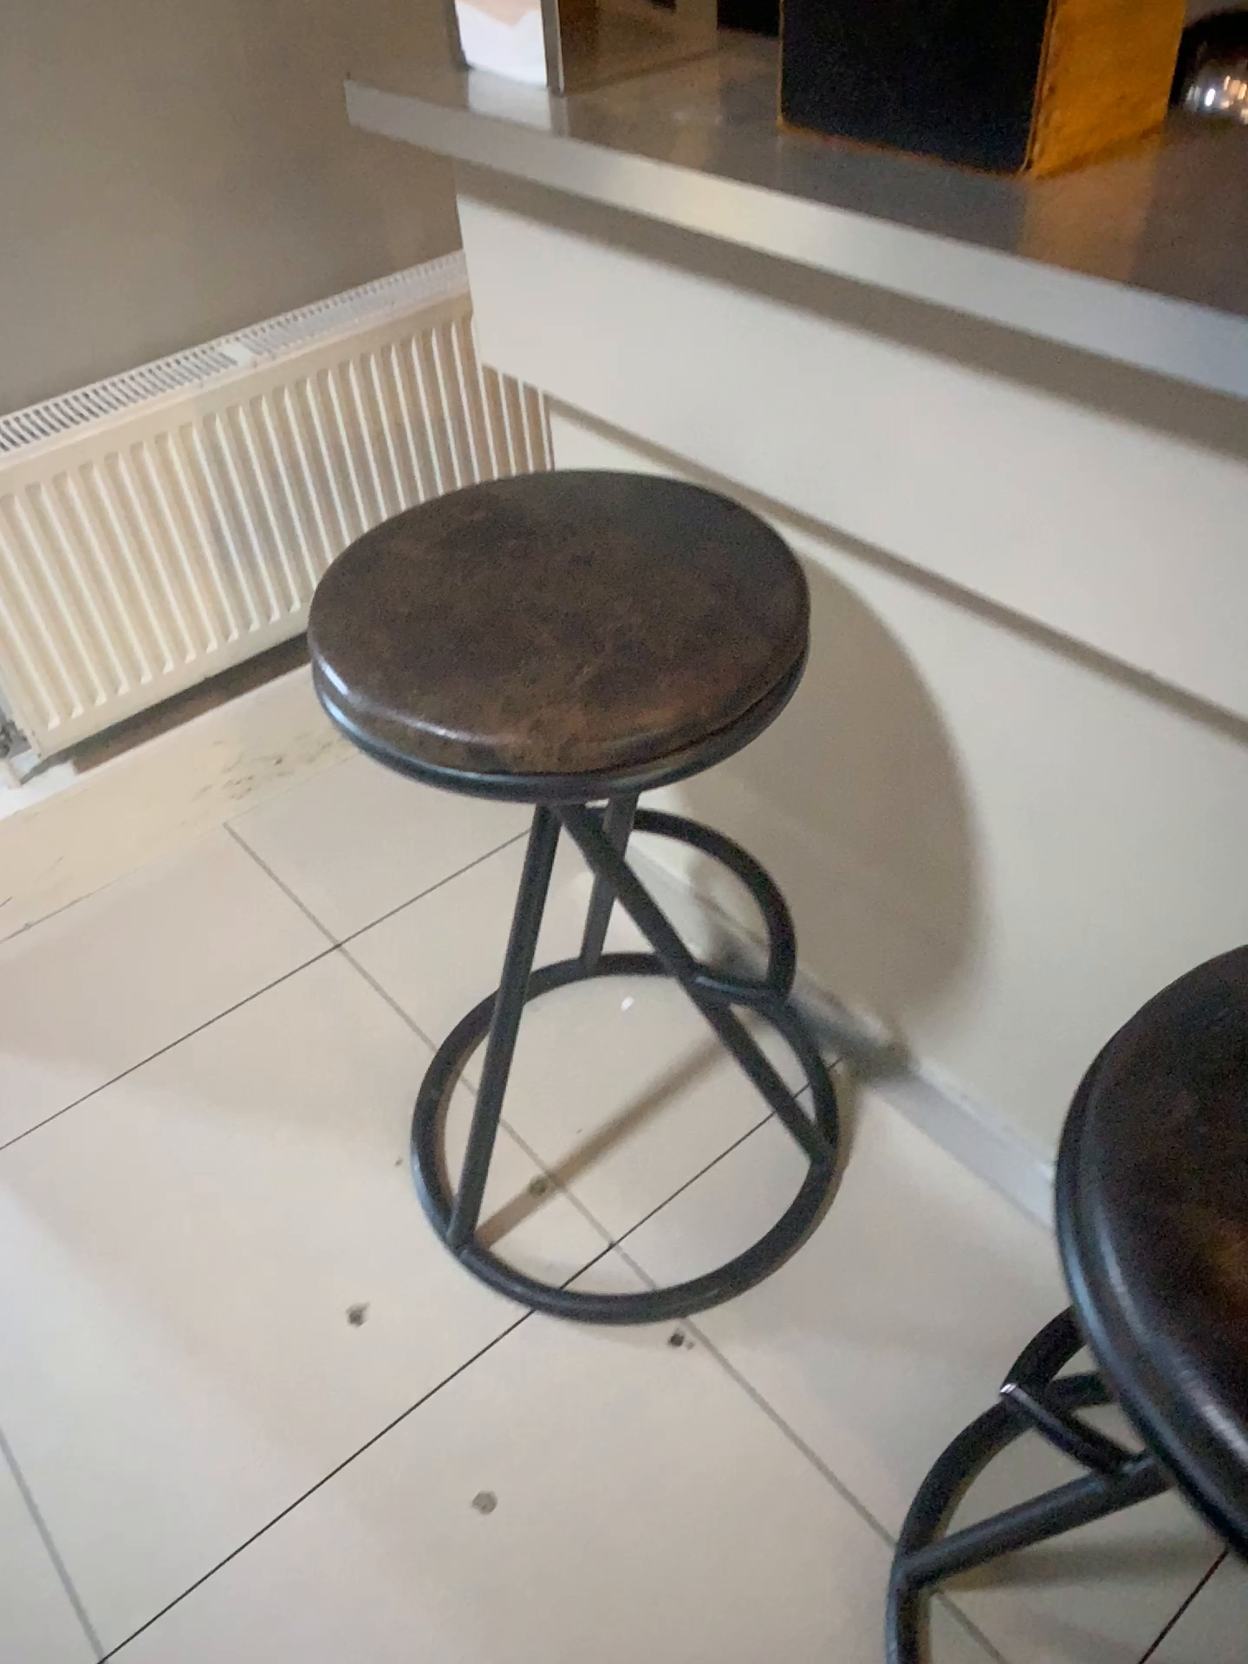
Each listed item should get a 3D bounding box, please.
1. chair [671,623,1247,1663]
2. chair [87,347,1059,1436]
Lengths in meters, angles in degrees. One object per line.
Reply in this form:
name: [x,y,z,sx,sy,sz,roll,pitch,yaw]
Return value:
chair: [0.426,0.389,0.803,0.527,0.727,0.552,-33,49,-27]
chair: [-0.029,0.040,1.247,0.547,0.727,0.552,-33,49,-27]
